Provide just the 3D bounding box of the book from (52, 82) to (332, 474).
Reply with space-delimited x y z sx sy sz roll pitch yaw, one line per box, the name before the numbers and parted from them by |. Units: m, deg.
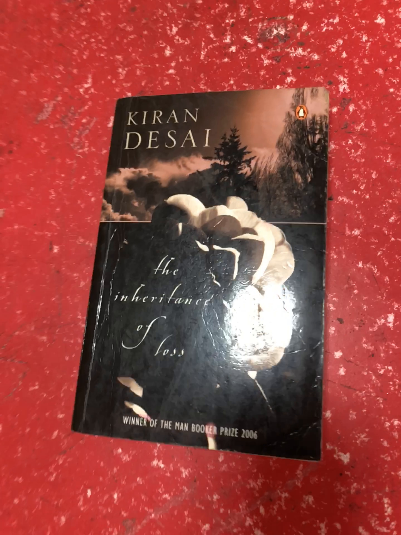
book | 0.004 0.001 0.256 0.130 0.060 0.190 2 77 13
